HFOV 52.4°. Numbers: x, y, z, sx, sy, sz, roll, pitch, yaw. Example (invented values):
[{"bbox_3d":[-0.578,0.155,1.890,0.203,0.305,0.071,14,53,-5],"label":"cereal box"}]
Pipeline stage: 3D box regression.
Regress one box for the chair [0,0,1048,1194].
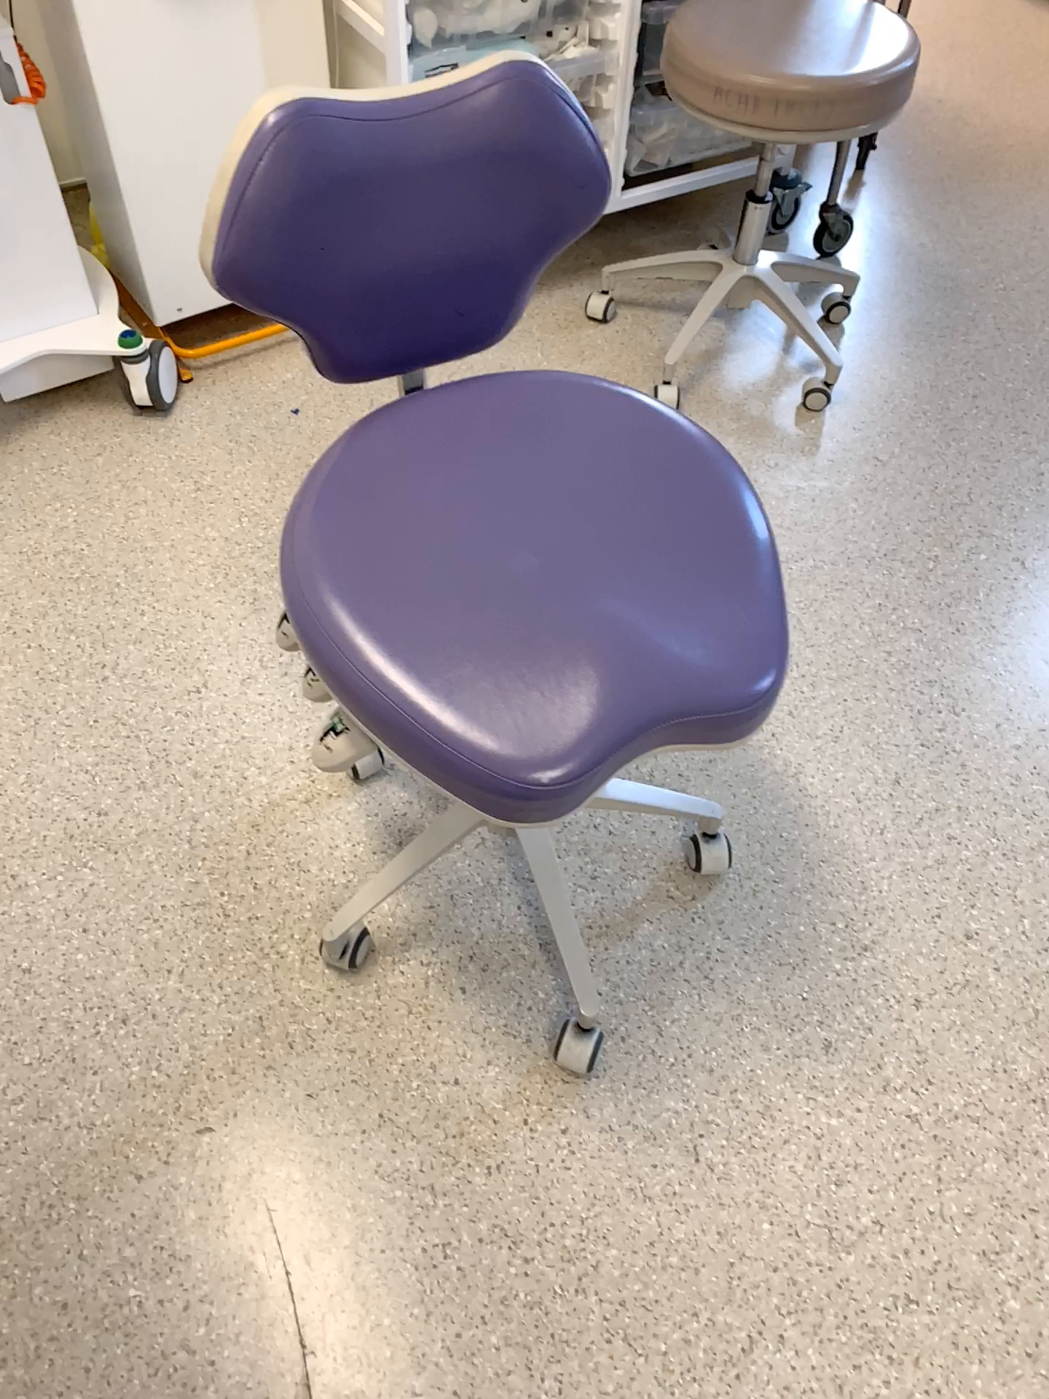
[{"bbox_3d":[-0.012,-0.103,0.991,0.601,0.823,0.654,-23,57,-18],"label":"chair"}]
